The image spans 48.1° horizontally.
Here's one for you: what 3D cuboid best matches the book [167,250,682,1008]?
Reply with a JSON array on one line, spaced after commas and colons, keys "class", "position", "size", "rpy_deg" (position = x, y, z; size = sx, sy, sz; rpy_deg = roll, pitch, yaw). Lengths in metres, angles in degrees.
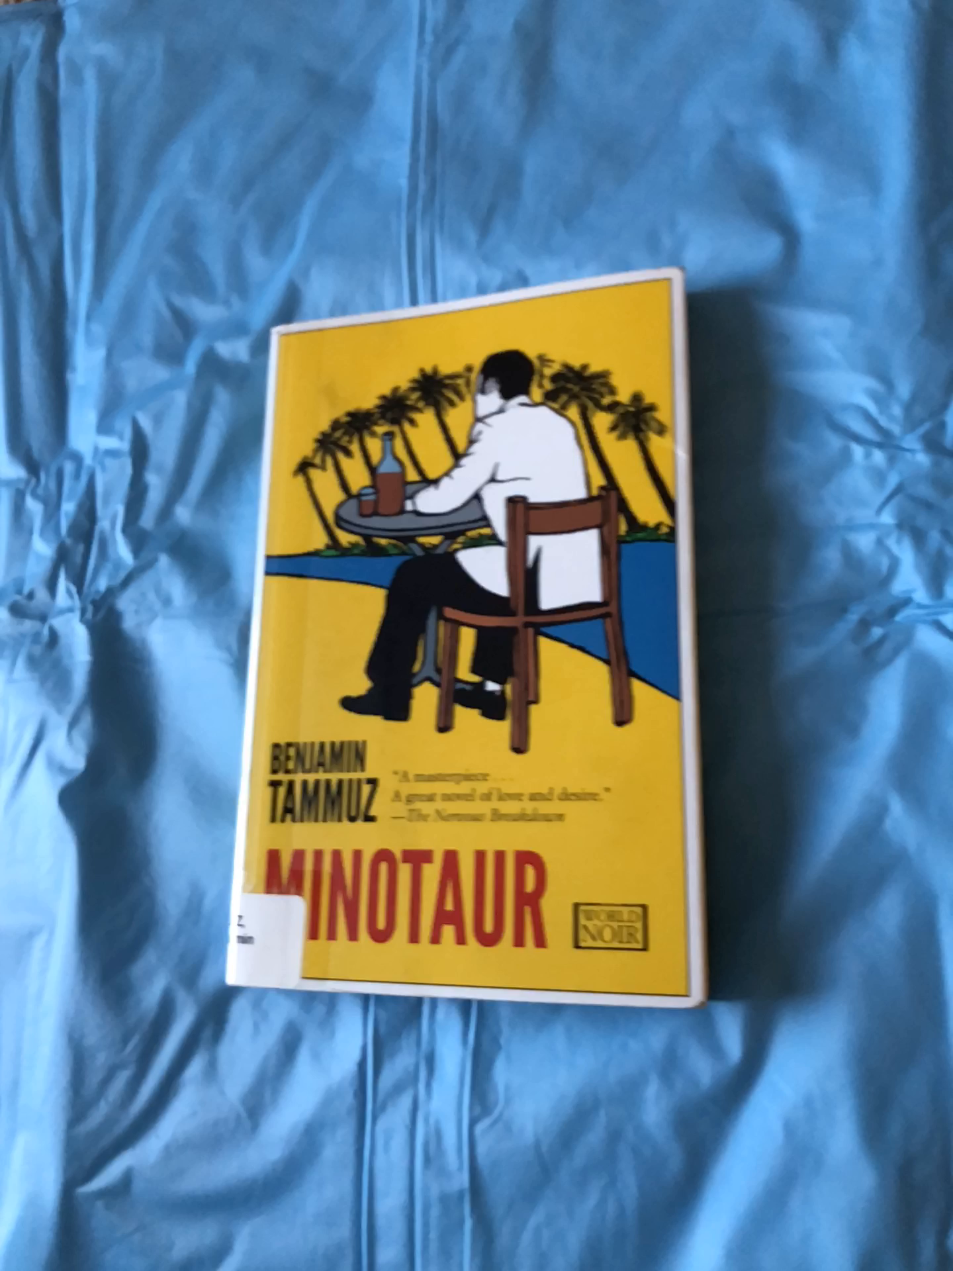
[{"class": "book", "position": [-0.014, -0.004, 0.322], "size": [0.142, 0.028, 0.212], "rpy_deg": [-3, 75, 16]}]
